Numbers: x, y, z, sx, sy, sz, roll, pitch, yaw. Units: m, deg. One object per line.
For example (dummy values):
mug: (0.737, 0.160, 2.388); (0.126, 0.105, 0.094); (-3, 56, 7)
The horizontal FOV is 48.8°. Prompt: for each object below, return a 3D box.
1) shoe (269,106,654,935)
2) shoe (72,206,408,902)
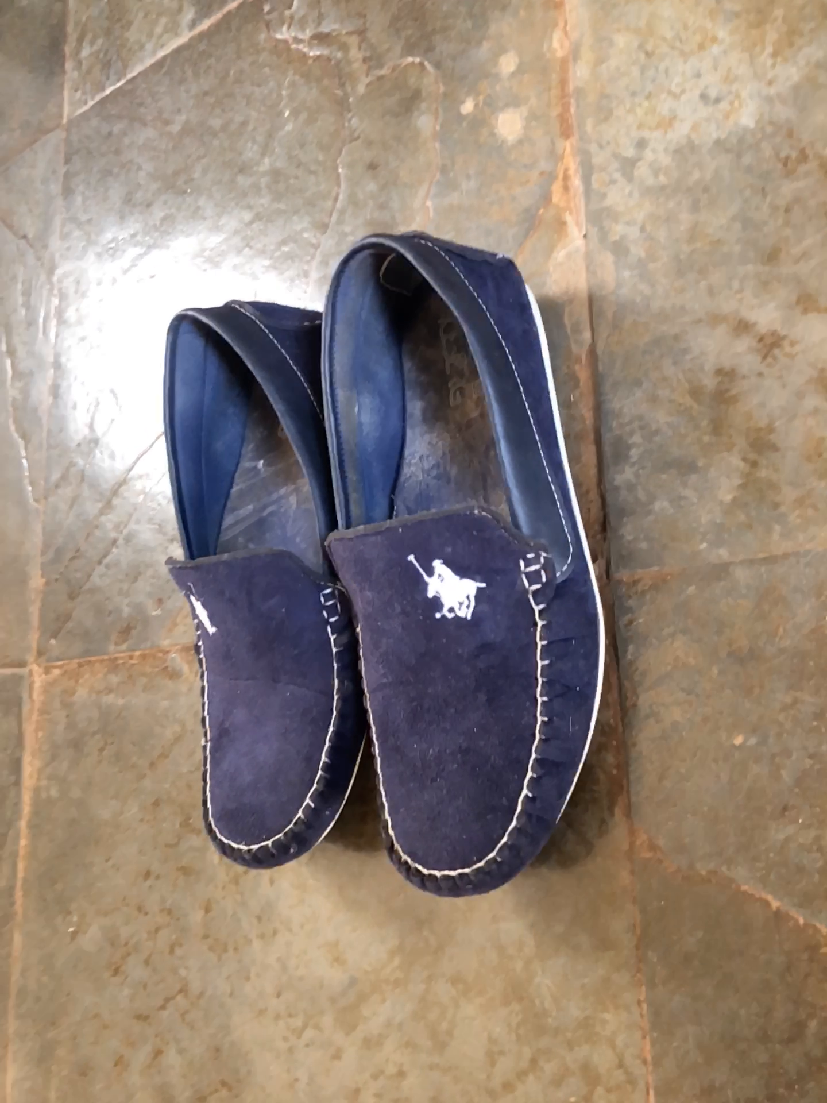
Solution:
shoe: (0.016, -0.008, 0.342); (0.100, 0.090, 0.260); (-10, 75, 35)
shoe: (-0.071, 0.004, 0.398); (0.100, 0.090, 0.260); (-10, 75, 35)
